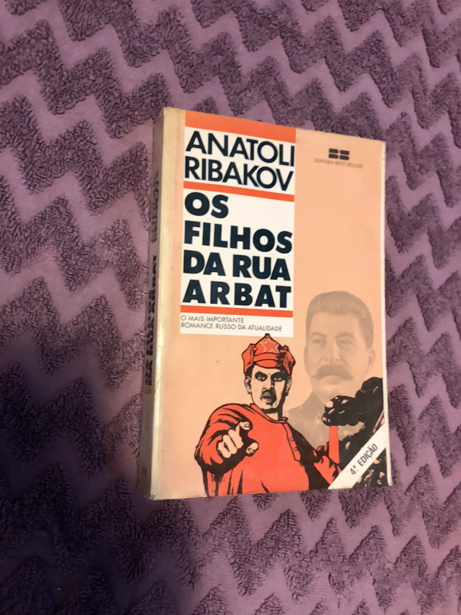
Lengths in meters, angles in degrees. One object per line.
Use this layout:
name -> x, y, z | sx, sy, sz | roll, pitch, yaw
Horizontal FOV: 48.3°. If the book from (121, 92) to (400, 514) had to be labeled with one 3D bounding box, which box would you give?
book -> 0.018, -0.001, 0.273 | 0.140, 0.040, 0.190 | 2, 87, -19
